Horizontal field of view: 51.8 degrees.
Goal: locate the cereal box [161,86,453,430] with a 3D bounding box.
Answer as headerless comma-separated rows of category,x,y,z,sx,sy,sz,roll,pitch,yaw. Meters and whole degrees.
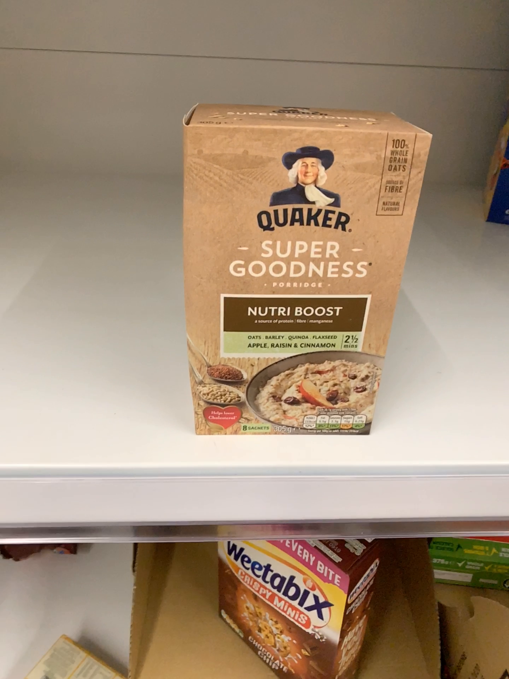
cereal box,0.020,-0.043,0.330,0.140,0.198,0.071,1,31,-4
